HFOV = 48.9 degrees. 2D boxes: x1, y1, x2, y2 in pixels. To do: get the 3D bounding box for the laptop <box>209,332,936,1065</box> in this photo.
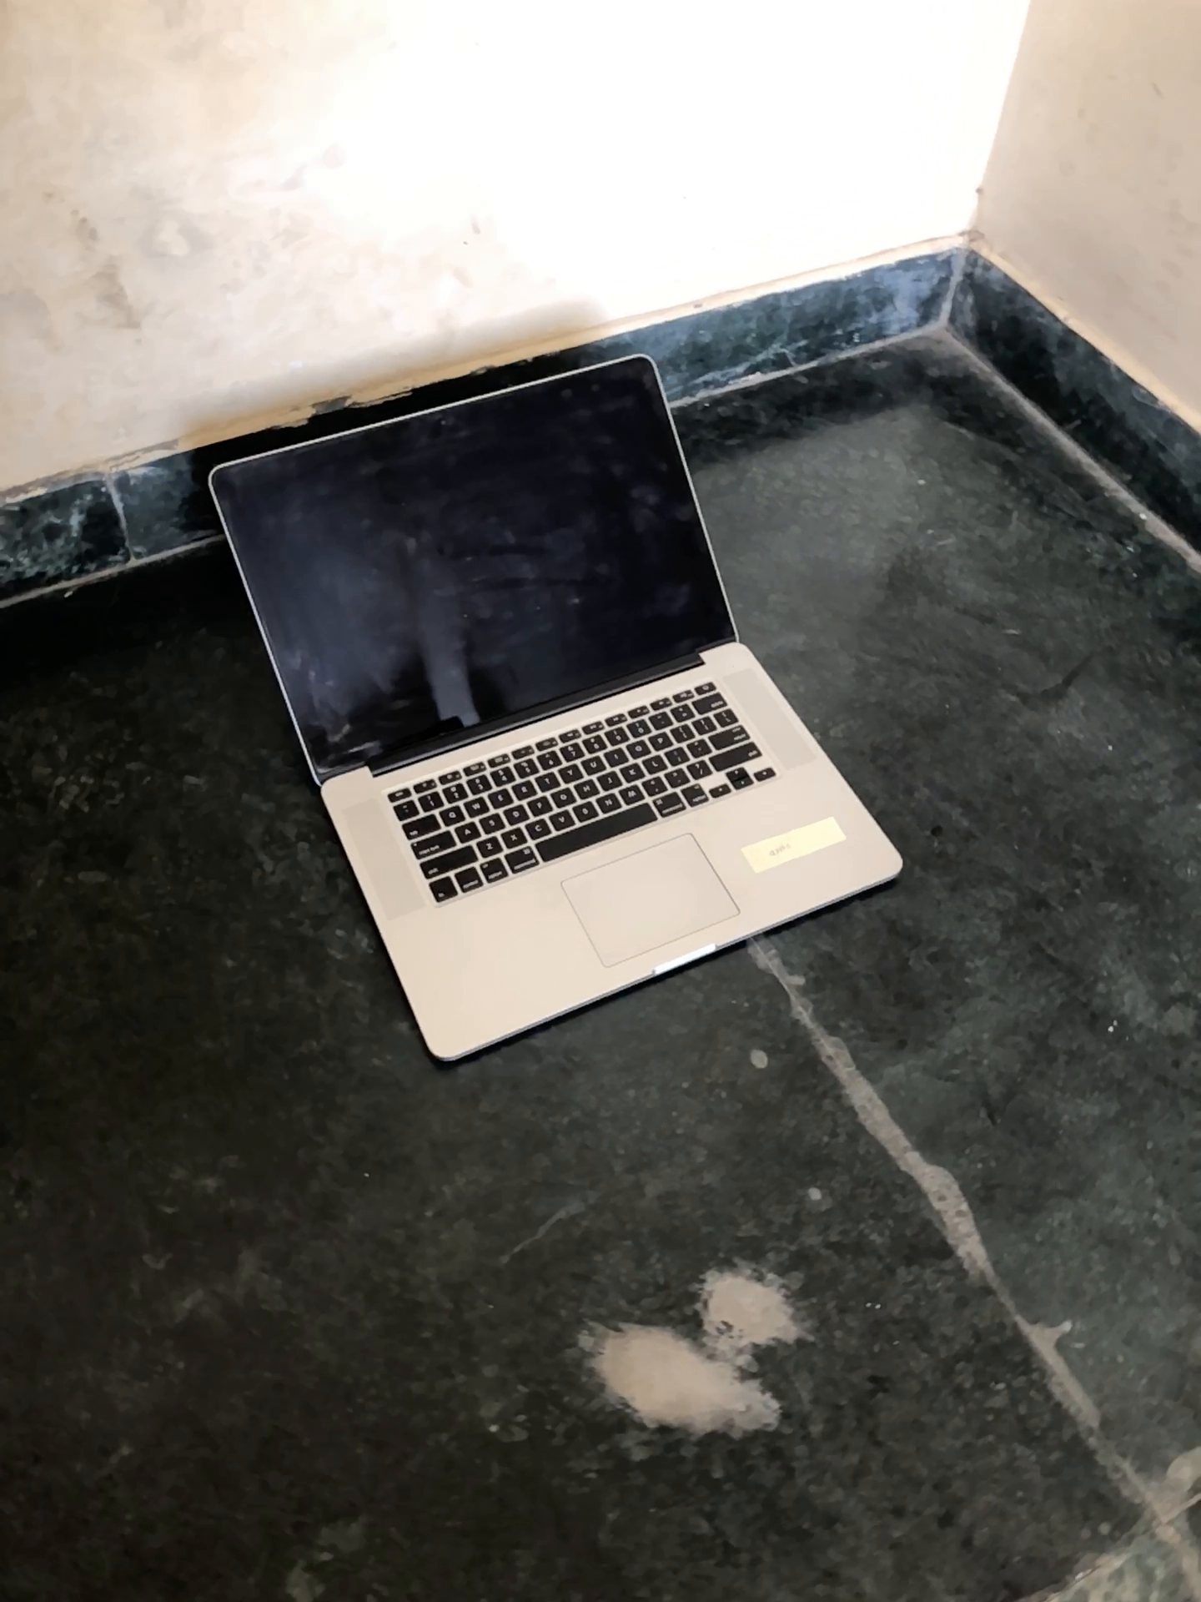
[{"bbox_3d":[-0.035,-0.101,0.932,0.343,0.130,0.434,-20,60,-17],"label":"laptop"}]
